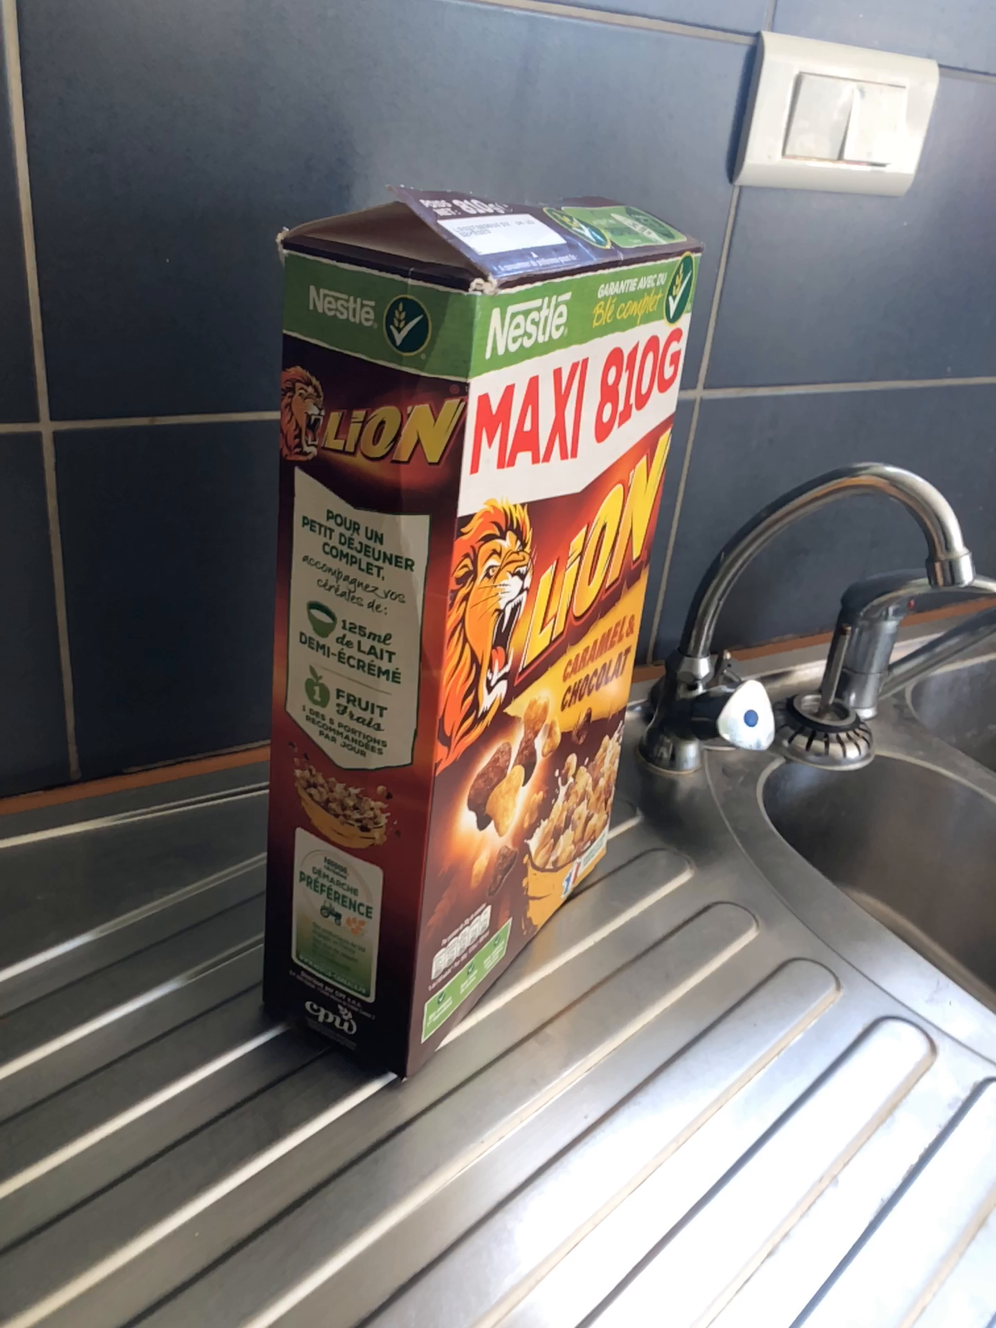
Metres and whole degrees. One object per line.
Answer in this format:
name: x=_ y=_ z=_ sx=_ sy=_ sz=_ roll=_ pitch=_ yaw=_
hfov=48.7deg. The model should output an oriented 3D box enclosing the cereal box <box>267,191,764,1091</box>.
cereal box: x=0.005 y=-0.019 z=0.459 sx=0.080 sy=0.318 sz=0.201 roll=21 pitch=30 yaw=25
